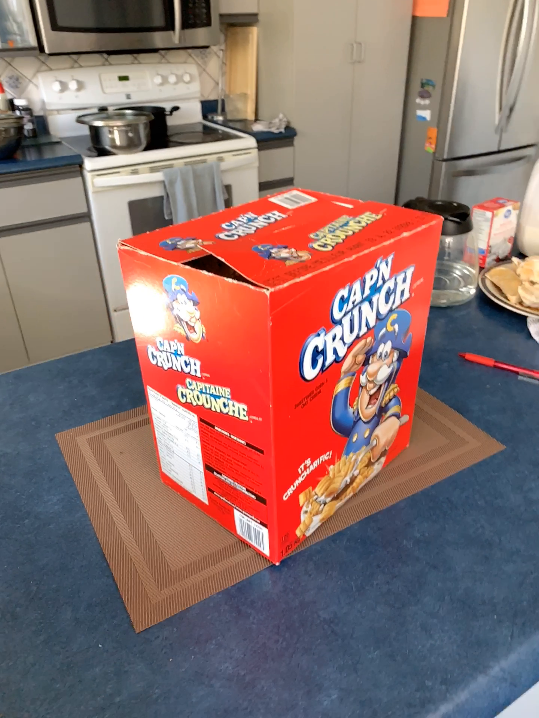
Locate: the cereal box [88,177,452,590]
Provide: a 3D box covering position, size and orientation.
[{"bbox_3d":[0.011,-0.002,0.588,0.211,0.297,0.271,25,39,37],"label":"cereal box"}]
